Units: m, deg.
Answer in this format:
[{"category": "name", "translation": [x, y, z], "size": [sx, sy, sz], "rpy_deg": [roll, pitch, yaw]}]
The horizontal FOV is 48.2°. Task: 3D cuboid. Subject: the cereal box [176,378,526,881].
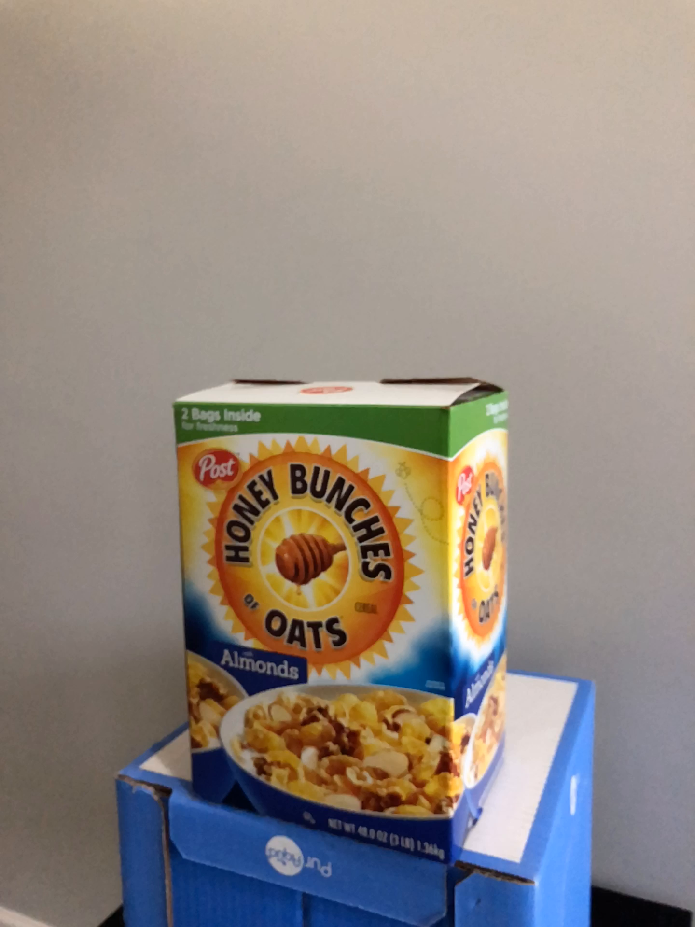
[{"category": "cereal box", "translation": [0.012, 0.092, 0.564], "size": [0.200, 0.300, 0.150], "rpy_deg": [2, 9, 25]}]
